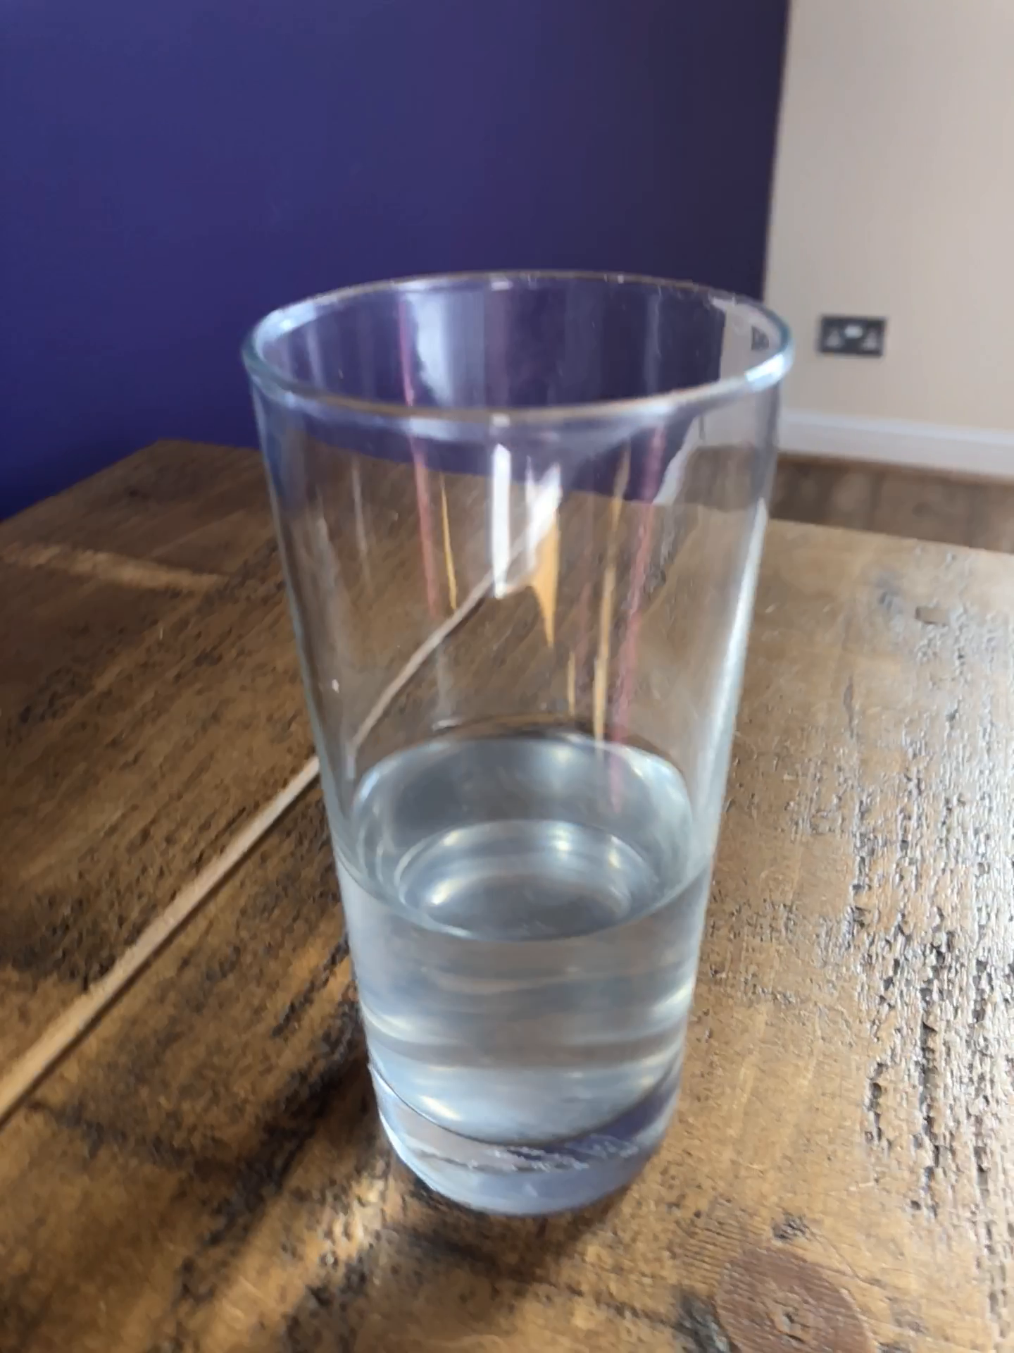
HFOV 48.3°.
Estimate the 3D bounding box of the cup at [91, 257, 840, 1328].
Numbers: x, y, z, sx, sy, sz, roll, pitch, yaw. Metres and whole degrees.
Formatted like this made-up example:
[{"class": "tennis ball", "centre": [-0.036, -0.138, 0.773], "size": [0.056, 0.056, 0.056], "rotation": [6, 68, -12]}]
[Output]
[{"class": "cup", "centre": [0.002, 0.019, 0.184], "size": [0.077, 0.152, 0.074], "rotation": [-1, 30, 1]}]
